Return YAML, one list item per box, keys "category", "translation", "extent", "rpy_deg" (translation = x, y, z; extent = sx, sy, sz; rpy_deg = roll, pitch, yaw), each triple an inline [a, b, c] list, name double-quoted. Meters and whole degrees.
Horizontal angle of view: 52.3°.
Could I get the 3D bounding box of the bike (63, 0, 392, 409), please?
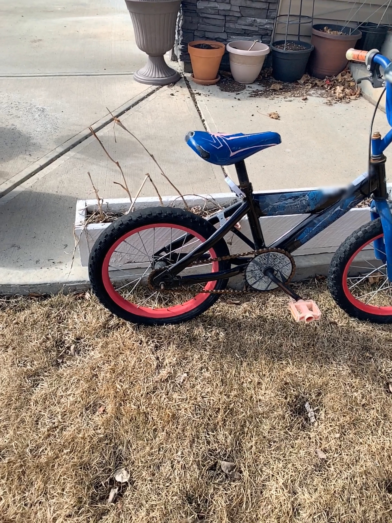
- category: "bike"
  translation: [0.256, -0.121, 0.909]
  extent: [1.023, 0.728, 0.538]
  rpy_deg: [-1, 41, -2]
